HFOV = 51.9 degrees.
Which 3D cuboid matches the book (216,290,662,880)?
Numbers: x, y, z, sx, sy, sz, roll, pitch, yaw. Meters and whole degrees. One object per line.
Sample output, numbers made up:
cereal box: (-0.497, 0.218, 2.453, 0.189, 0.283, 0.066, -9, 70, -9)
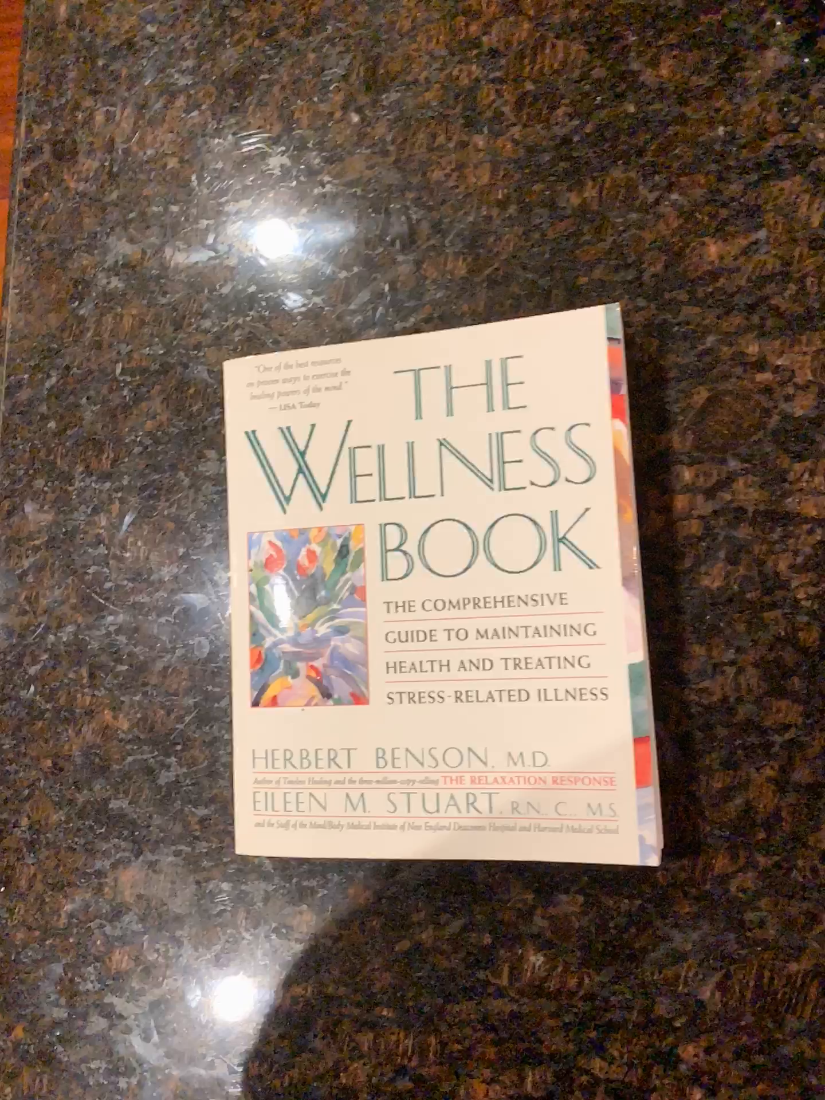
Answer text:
book: (0.010, 0.019, 0.397, 0.187, 0.060, 0.240, -4, 84, 15)
